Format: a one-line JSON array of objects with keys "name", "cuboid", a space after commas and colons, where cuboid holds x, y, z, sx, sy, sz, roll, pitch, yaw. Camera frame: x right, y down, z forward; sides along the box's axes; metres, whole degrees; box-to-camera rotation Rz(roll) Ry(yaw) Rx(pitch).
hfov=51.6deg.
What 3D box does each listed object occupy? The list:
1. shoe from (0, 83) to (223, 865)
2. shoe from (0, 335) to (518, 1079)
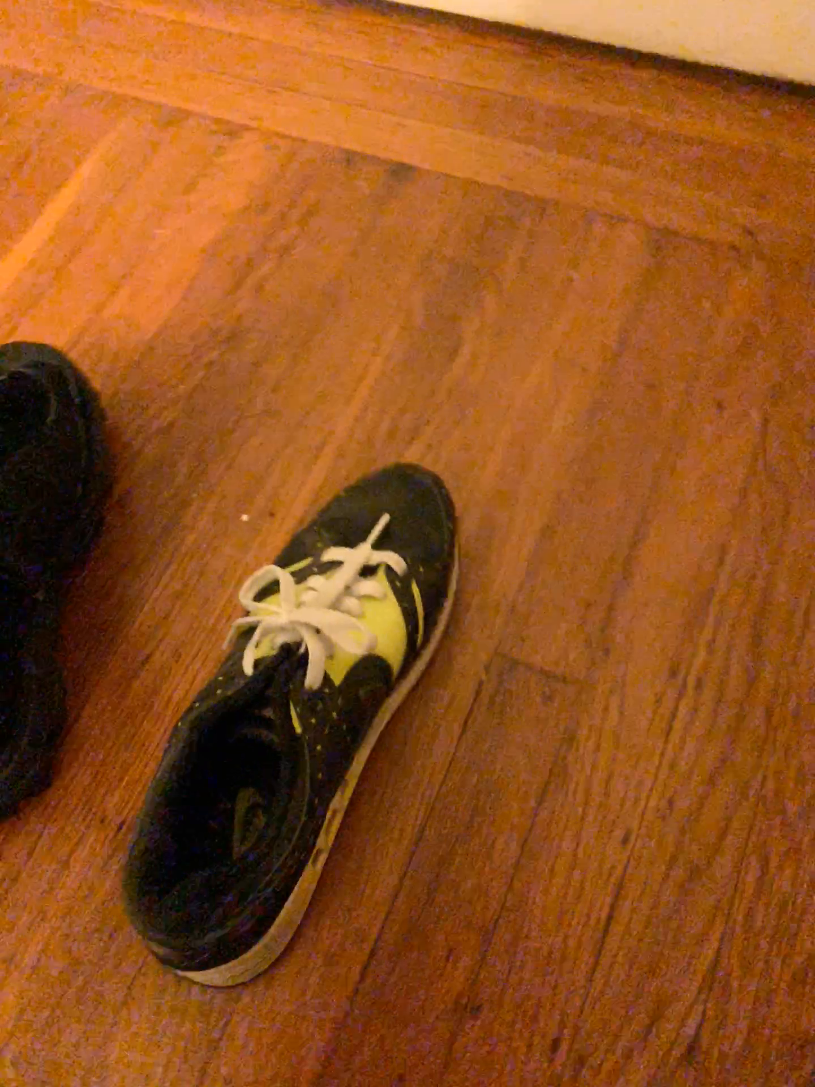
[{"name": "shoe", "cuboid": [-0.216, -0.014, 0.427, 0.160, 0.239, 0.311, -3, 64, 3]}, {"name": "shoe", "cuboid": [-0.049, 0.059, 0.395, 0.120, 0.100, 0.290, 16, 67, 11]}]
